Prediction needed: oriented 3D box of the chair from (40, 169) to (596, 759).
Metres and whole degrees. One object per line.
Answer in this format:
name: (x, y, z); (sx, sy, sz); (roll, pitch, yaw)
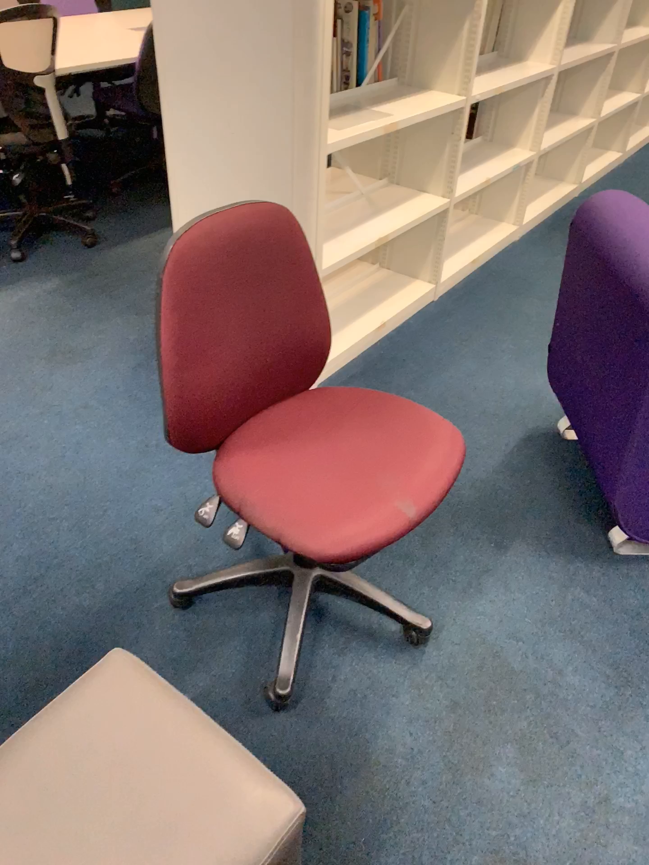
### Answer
chair: (-0.019, 0.006, 1.365); (0.693, 0.782, 0.654); (30, 45, 30)
